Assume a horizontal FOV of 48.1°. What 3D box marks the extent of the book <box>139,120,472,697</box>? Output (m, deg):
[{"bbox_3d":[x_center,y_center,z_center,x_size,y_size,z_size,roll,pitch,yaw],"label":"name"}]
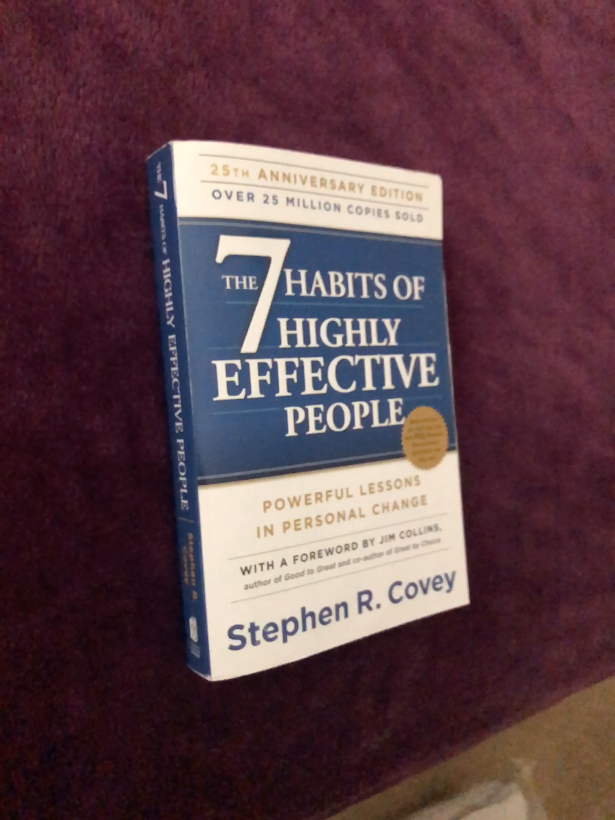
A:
[{"bbox_3d":[0.007,-0.004,0.312,0.147,0.028,0.217,-4,92,-34],"label":"book"}]
